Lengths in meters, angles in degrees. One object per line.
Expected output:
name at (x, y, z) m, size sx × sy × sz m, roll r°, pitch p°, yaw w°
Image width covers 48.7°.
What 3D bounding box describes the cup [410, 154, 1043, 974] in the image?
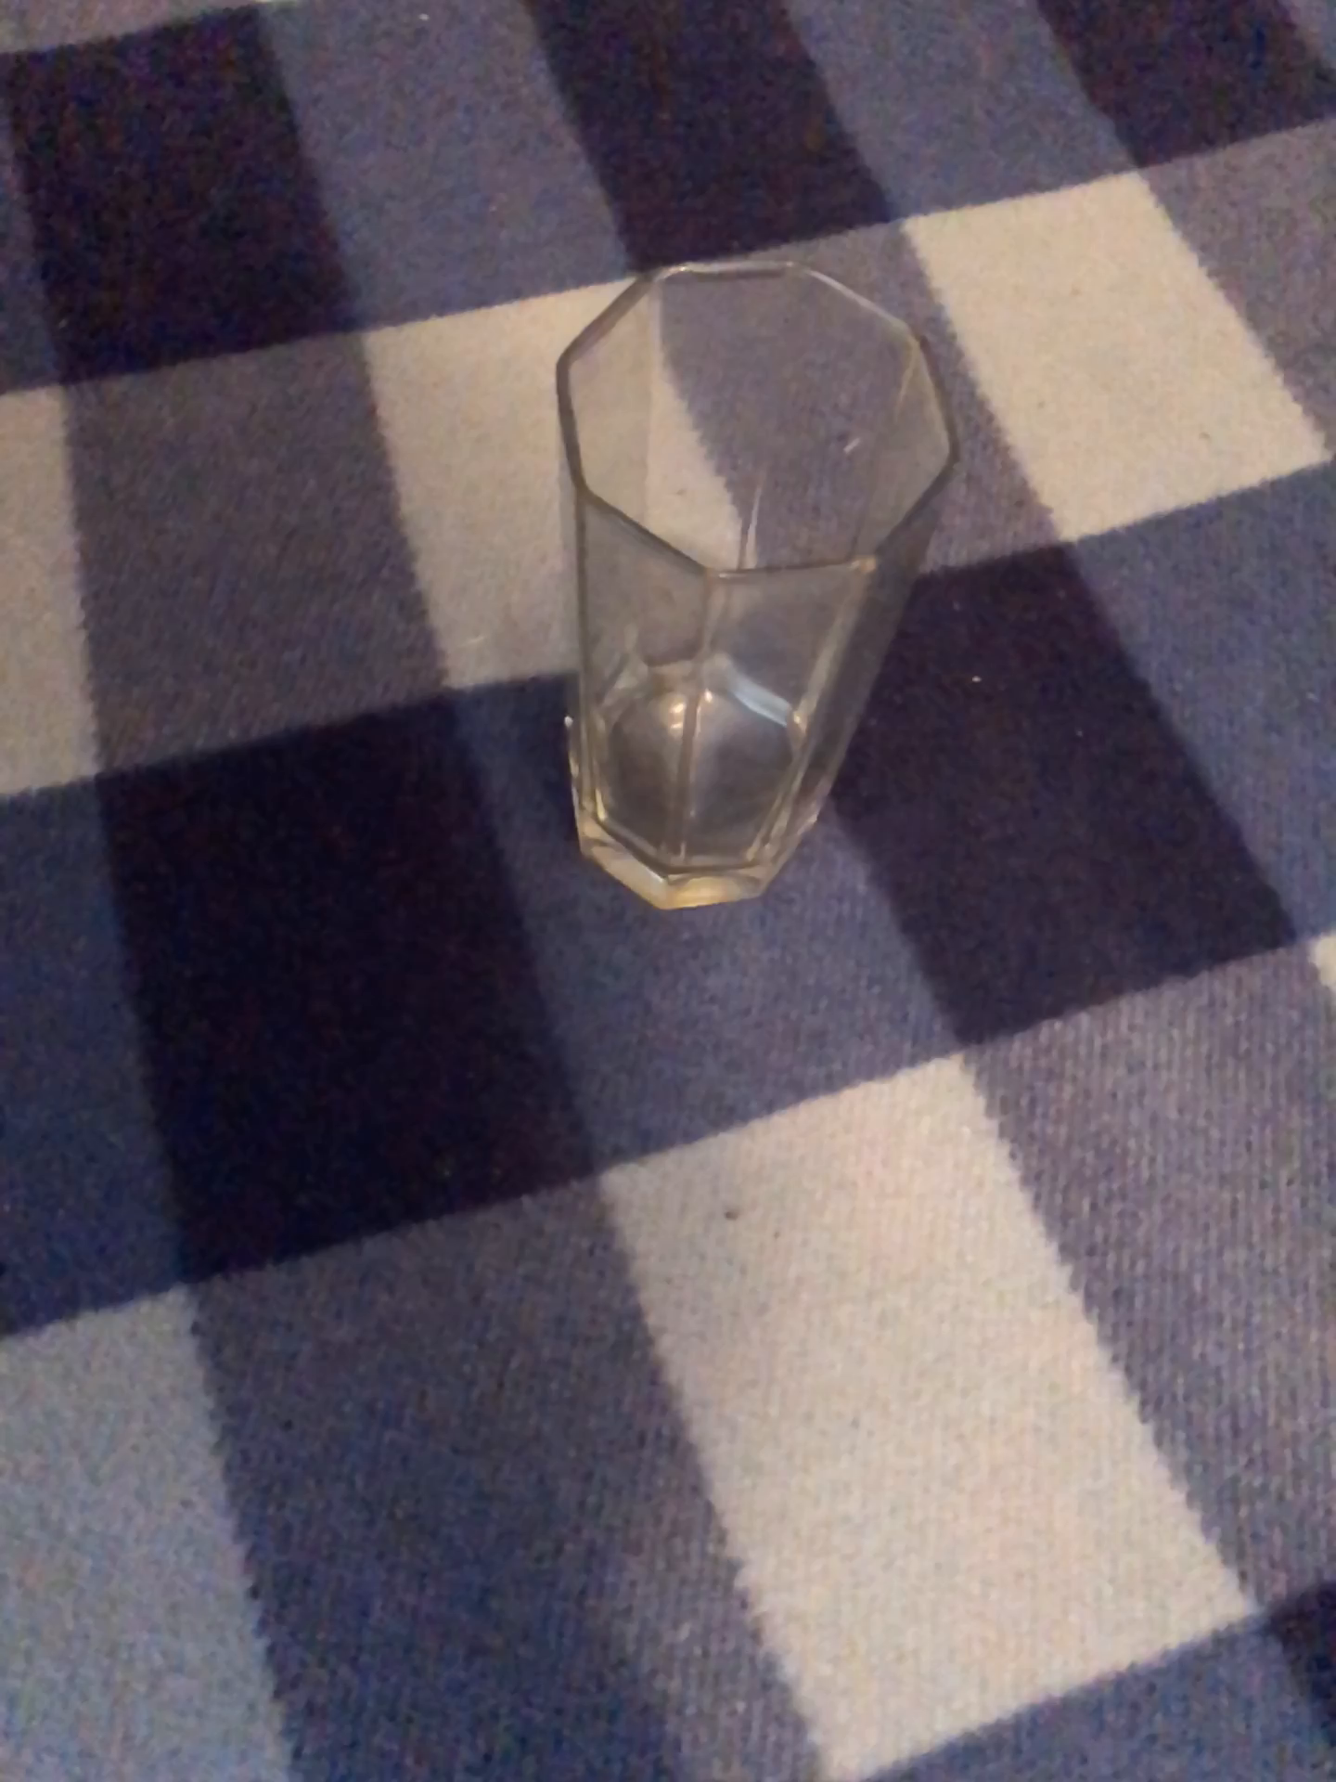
cup at (0.008, -0.057, 0.308) m, size 0.082 × 0.137 × 0.077 m, roll 1°, pitch 65°, yaw -3°
